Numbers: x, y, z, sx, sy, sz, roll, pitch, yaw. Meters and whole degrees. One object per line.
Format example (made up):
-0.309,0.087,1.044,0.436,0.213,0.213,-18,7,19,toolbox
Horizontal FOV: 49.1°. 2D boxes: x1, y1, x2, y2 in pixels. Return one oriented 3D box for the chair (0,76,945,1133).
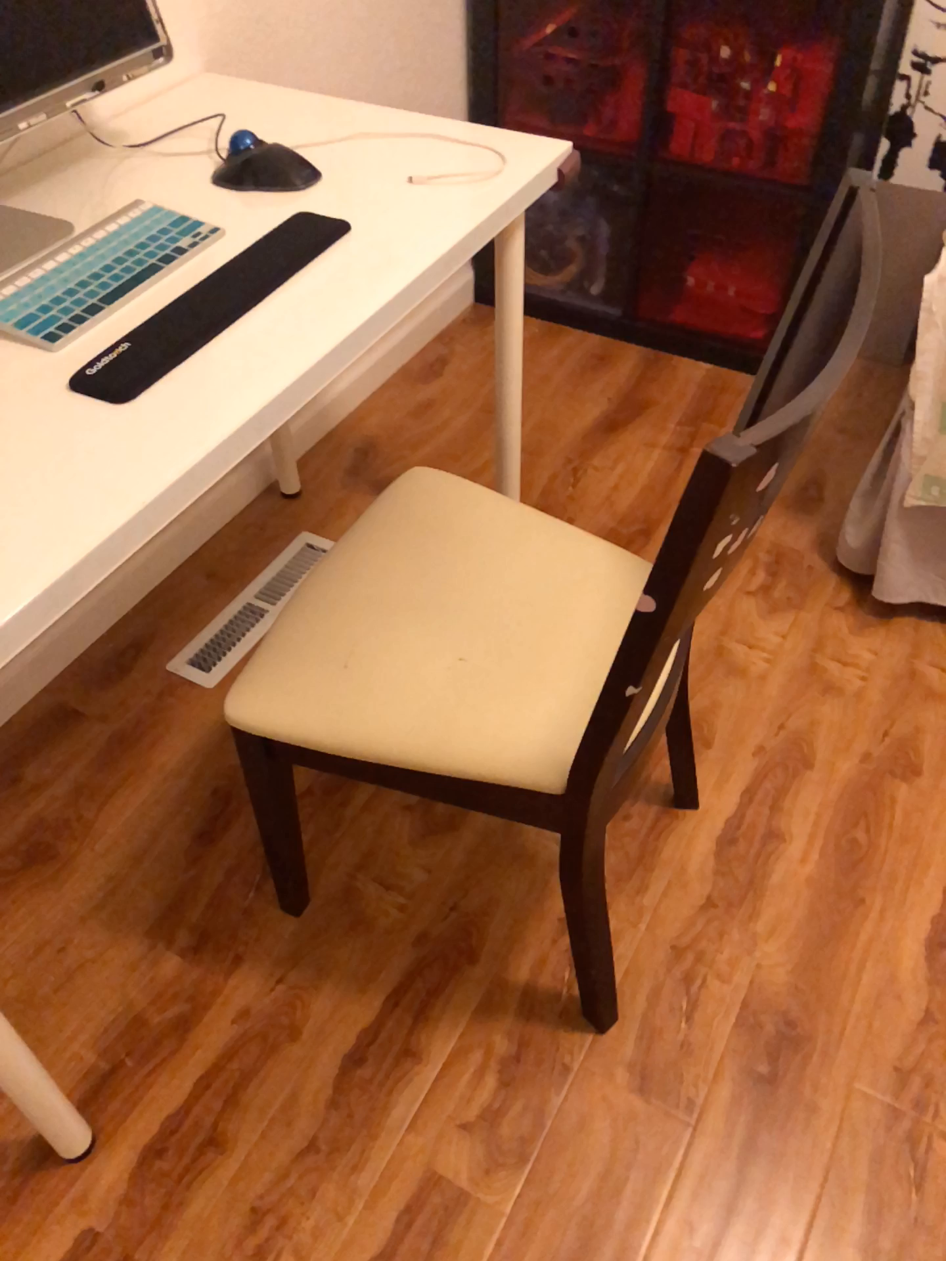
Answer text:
0.013,-0.020,1.168,0.661,0.885,0.572,18,48,20,chair
